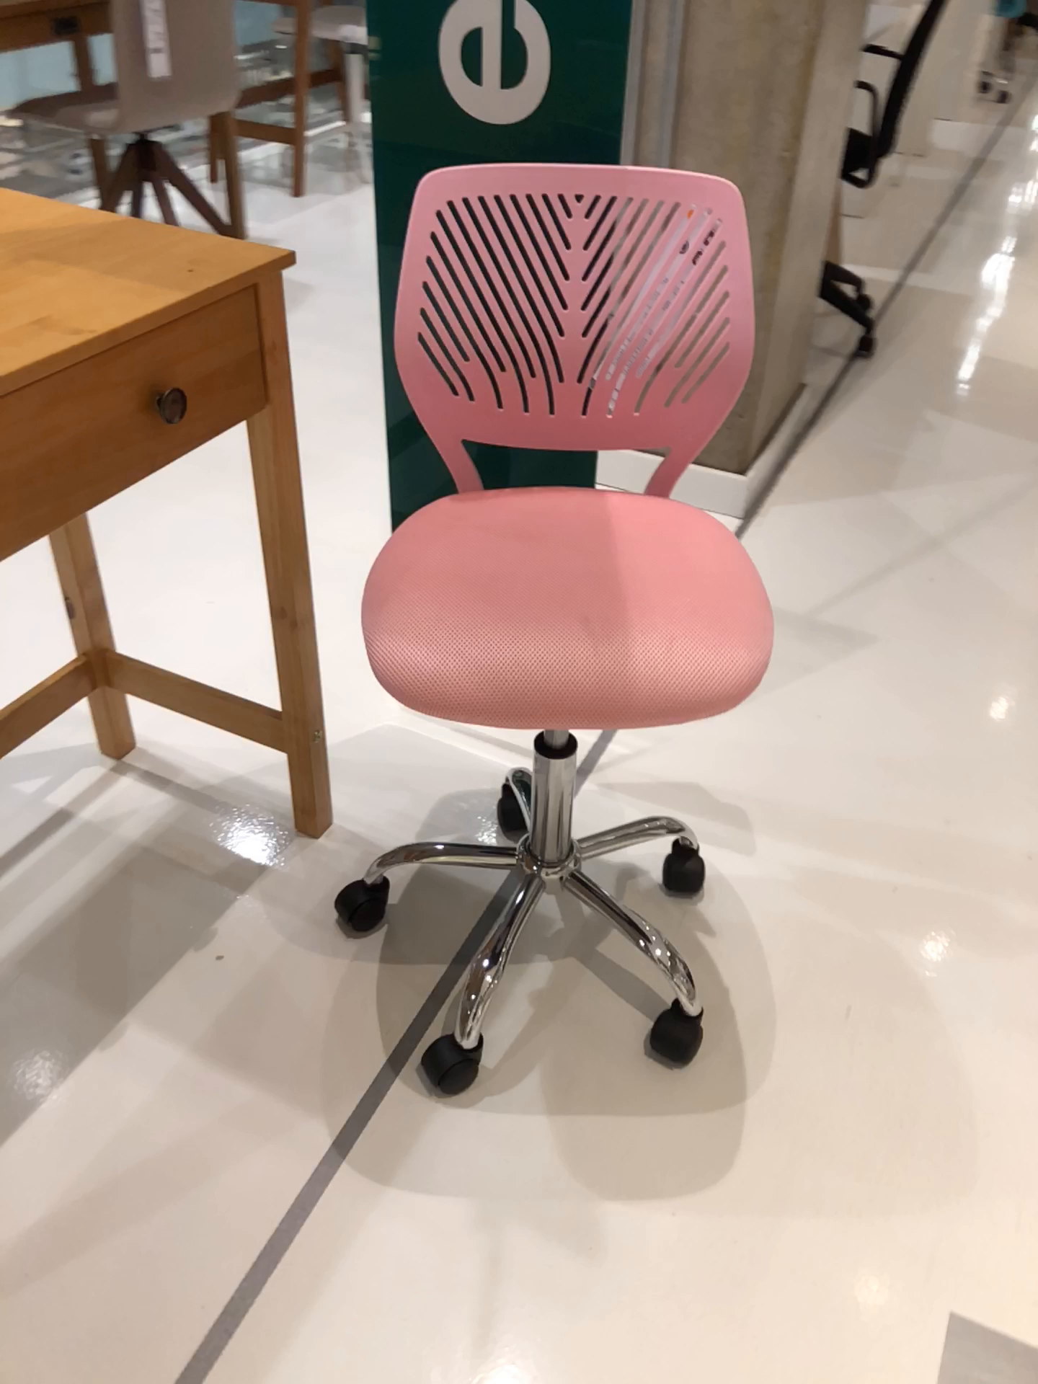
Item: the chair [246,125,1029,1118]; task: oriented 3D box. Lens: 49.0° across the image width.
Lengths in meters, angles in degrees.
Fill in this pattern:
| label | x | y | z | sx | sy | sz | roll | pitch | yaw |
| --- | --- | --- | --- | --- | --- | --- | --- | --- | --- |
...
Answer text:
| label | x | y | z | sx | sy | sz | roll | pitch | yaw |
| --- | --- | --- | --- | --- | --- | --- | --- | --- | --- |
| chair | 0.036 | -0.067 | 1.165 | 0.500 | 0.833 | 0.524 | -3 | 37 | -7 |
